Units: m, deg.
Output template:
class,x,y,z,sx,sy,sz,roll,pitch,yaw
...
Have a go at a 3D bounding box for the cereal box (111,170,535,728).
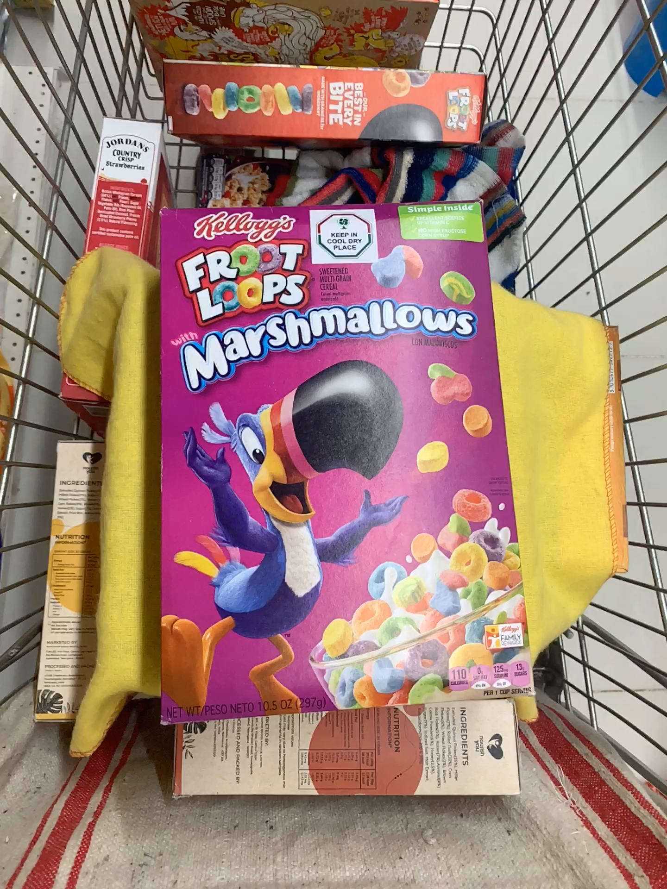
class,x,y,z,sx,sy,sz,roll,pitch,yaw
cereal box,-0.012,-0.005,0.368,0.190,0.070,0.270,-2,78,-4
